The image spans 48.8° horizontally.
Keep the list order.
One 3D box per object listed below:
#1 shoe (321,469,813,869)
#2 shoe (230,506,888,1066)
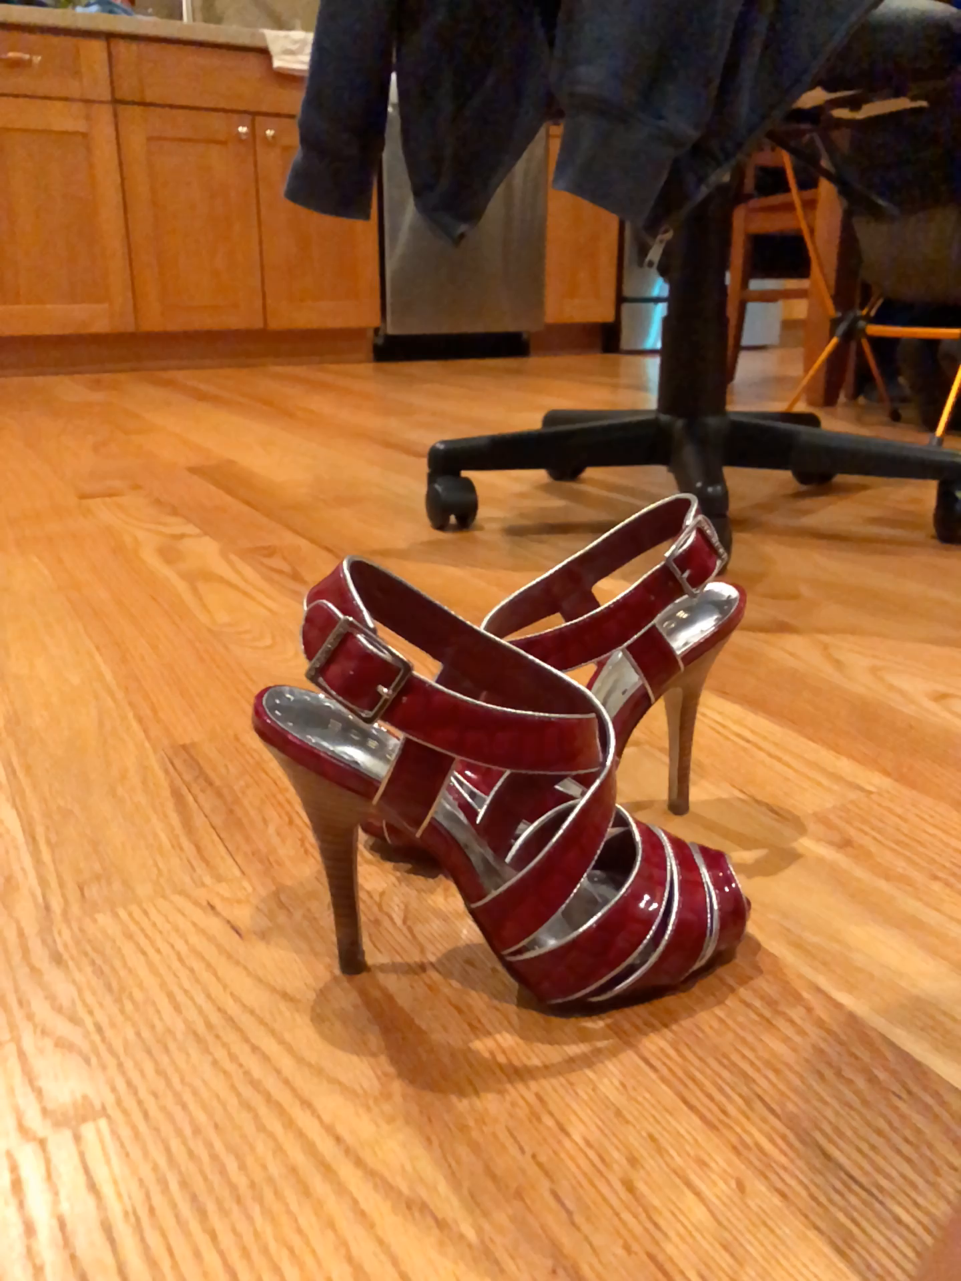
[{"bbox_3d":[0.034,0.005,0.481,0.193,0.141,0.092,-5,19,-15],"label":"shoe"},{"bbox_3d":[0.019,0.041,0.372,0.198,0.151,0.092,-4,18,-12],"label":"shoe"}]
